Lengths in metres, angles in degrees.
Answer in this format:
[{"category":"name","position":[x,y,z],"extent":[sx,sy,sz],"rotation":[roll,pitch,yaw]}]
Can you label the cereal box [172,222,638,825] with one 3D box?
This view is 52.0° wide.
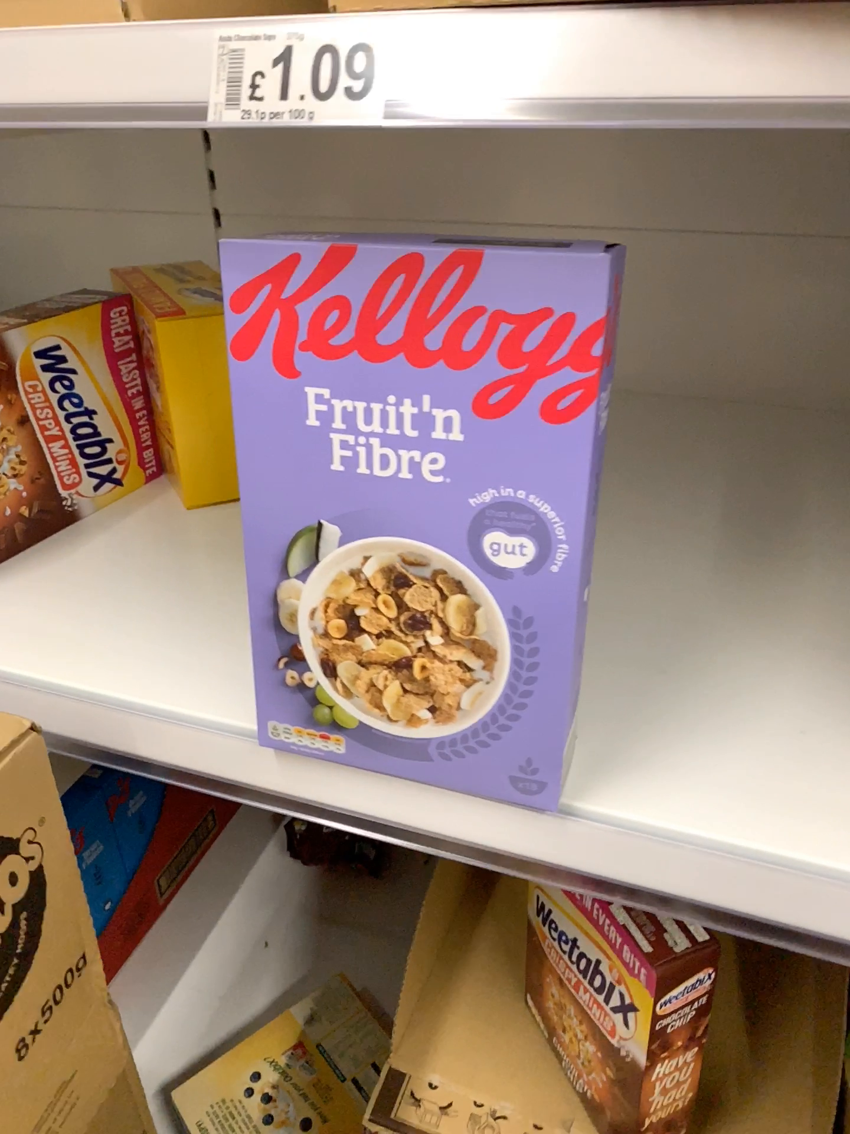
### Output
[{"category":"cereal box","position":[-0.009,-0.025,0.482],"extent":[0.210,0.298,0.081],"rotation":[8,26,17]}]
